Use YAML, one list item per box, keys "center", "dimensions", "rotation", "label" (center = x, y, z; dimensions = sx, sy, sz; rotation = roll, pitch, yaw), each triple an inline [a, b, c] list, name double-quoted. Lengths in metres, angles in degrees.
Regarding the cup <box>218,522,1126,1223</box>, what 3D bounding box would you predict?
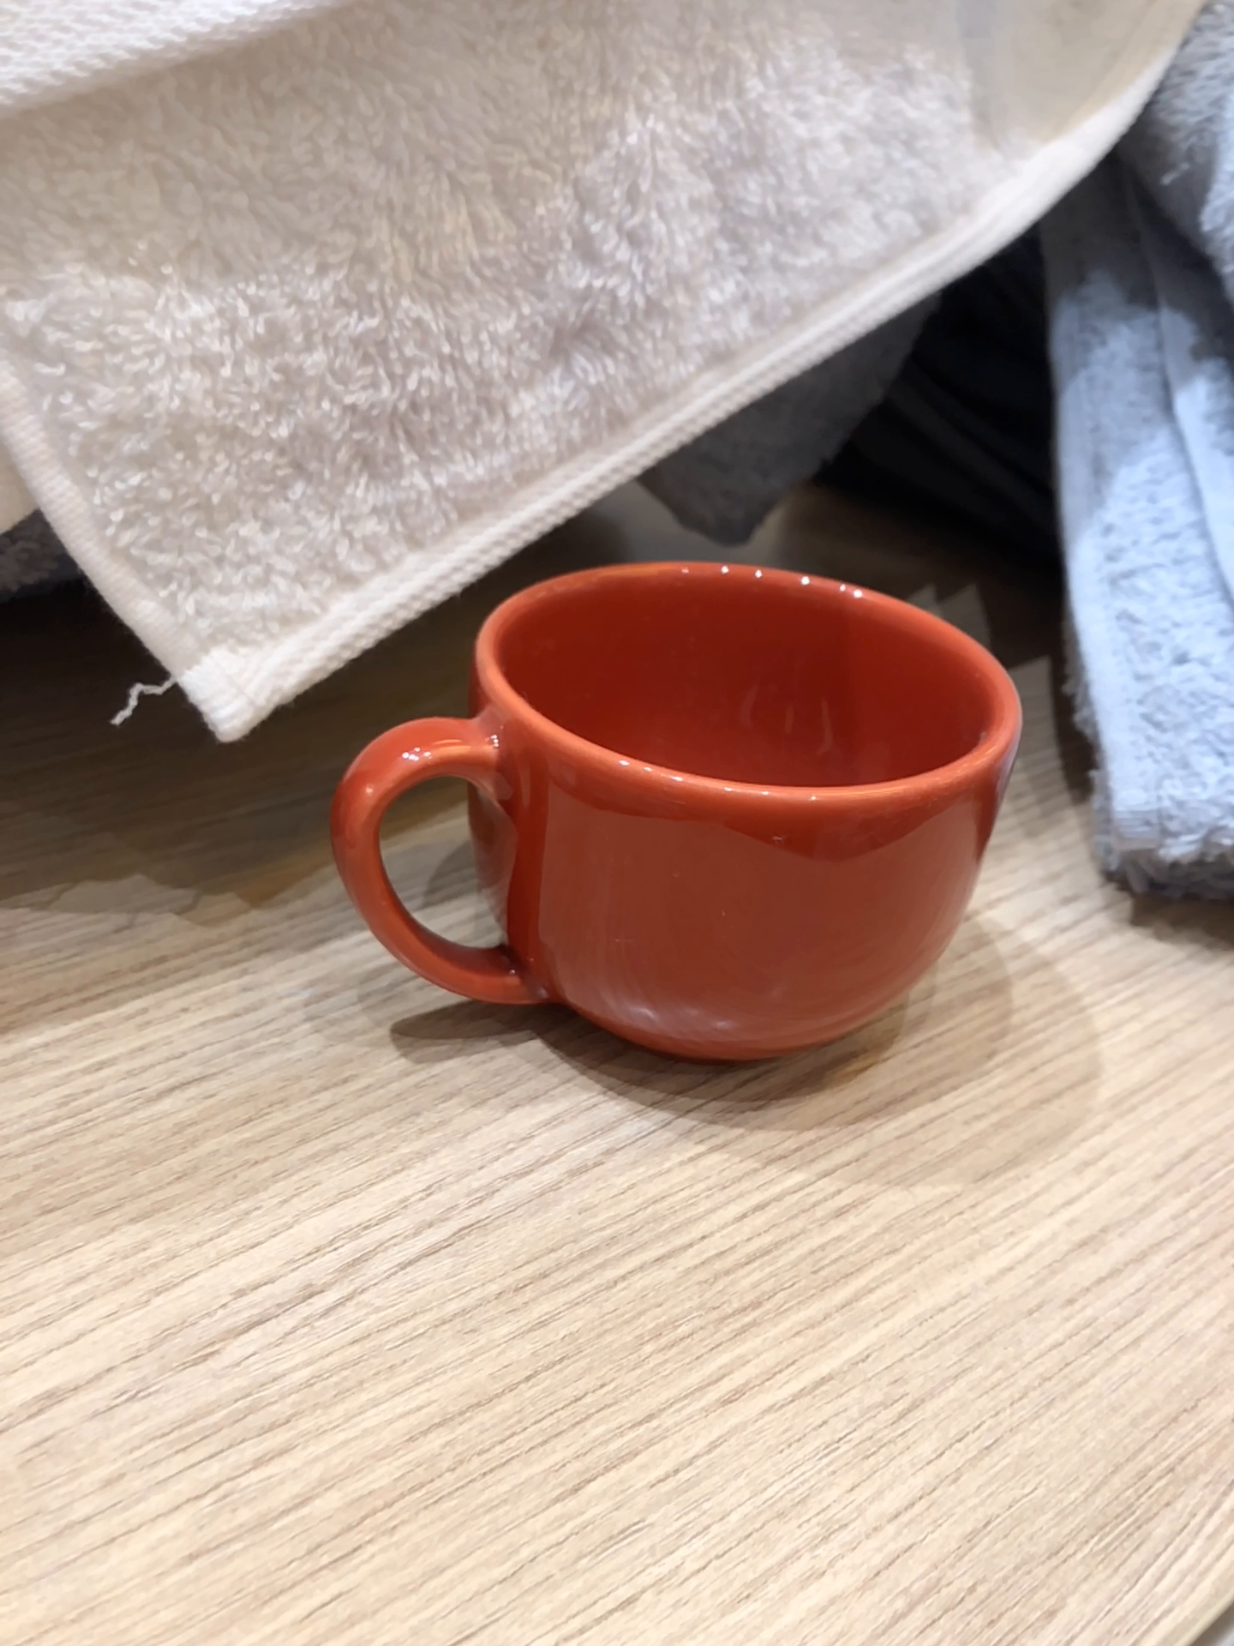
- center: [0.004, -0.003, 0.206]
  dimensions: [0.100, 0.050, 0.080]
  rotation: [-13, 36, -29]
  label: "cup"
